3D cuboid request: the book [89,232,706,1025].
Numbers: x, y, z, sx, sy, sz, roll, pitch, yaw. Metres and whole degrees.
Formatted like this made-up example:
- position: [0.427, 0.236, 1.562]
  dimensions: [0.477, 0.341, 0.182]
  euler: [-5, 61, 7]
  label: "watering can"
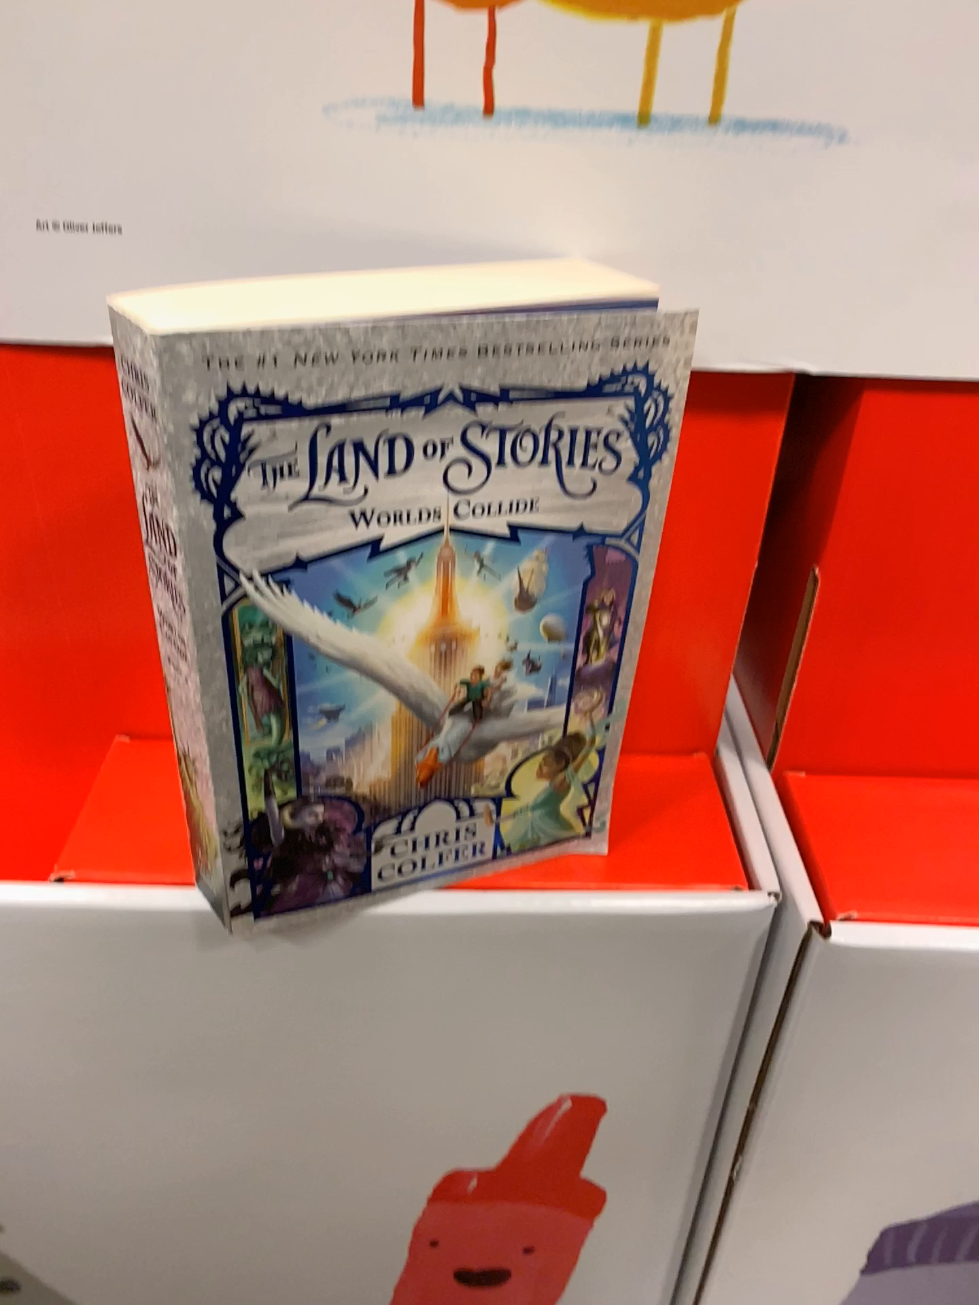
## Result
- position: [-0.022, -0.007, 0.292]
  dimensions: [0.130, 0.193, 0.065]
  euler: [-18, 38, -27]
  label: "book"
